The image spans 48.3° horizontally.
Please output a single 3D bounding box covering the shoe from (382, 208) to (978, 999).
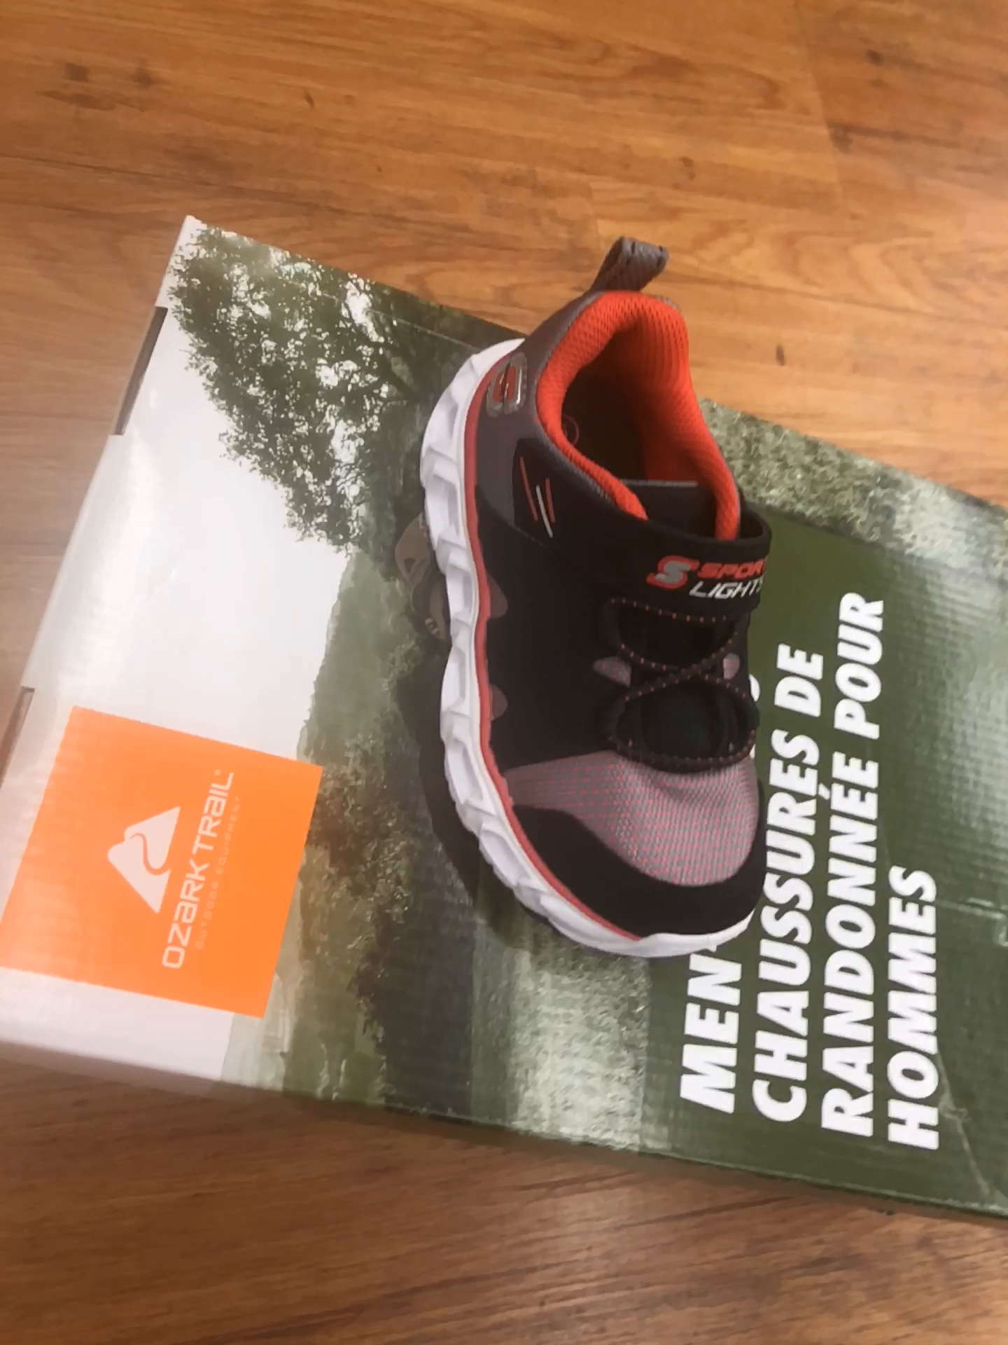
[{"bbox_3d":[0.032,-0.013,0.289,0.090,0.090,0.170,-2,71,-20],"label":"shoe"}]
